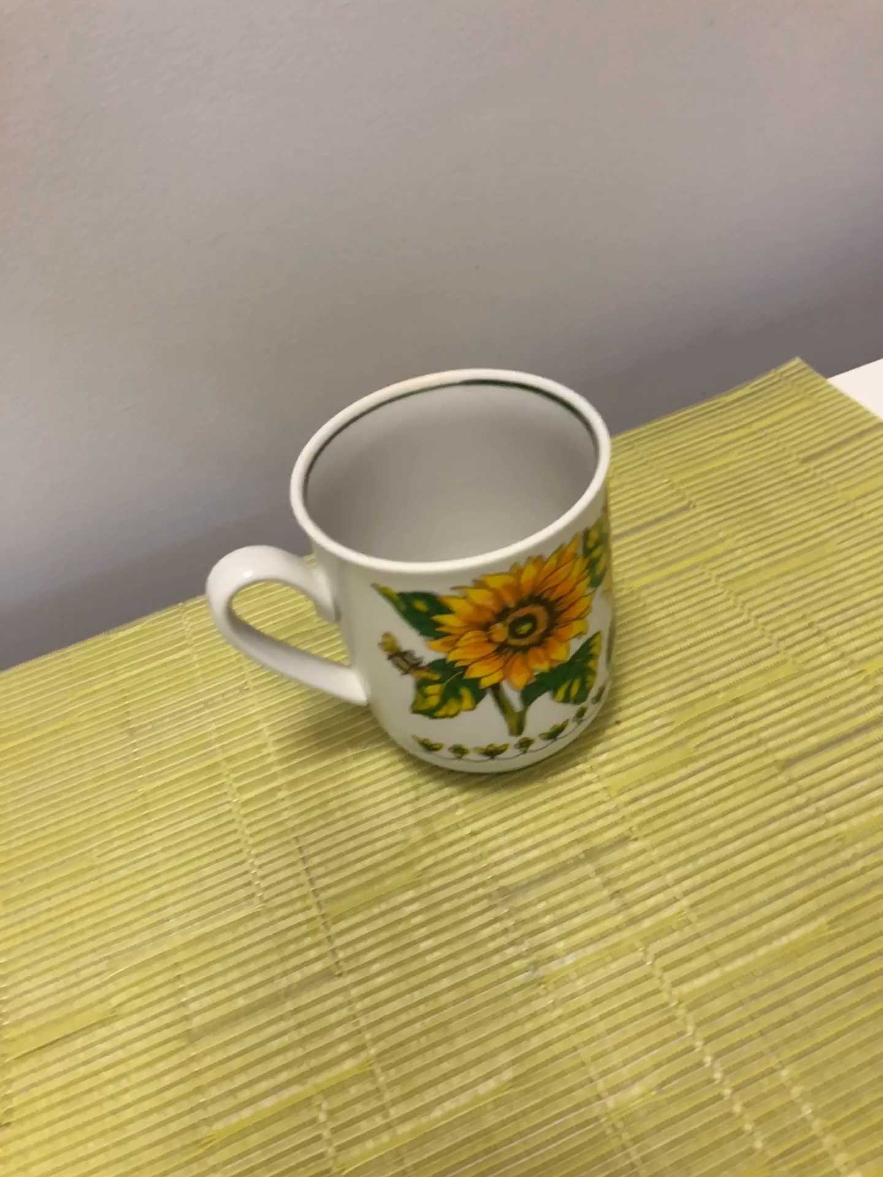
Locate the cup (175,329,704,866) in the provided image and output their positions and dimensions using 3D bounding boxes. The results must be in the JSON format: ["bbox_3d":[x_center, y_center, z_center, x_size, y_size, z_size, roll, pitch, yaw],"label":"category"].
[{"bbox_3d":[-0.001,-0.001,0.277,0.116,0.084,0.088,-18,41,-6],"label":"cup"}]
